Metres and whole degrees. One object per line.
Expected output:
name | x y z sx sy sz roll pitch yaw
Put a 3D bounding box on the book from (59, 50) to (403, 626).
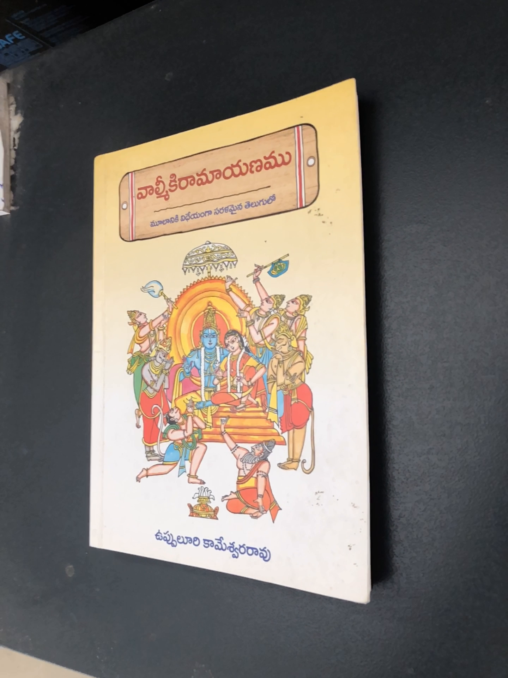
book | -0.023 -0.001 0.290 0.191 0.020 0.240 -3 85 30
